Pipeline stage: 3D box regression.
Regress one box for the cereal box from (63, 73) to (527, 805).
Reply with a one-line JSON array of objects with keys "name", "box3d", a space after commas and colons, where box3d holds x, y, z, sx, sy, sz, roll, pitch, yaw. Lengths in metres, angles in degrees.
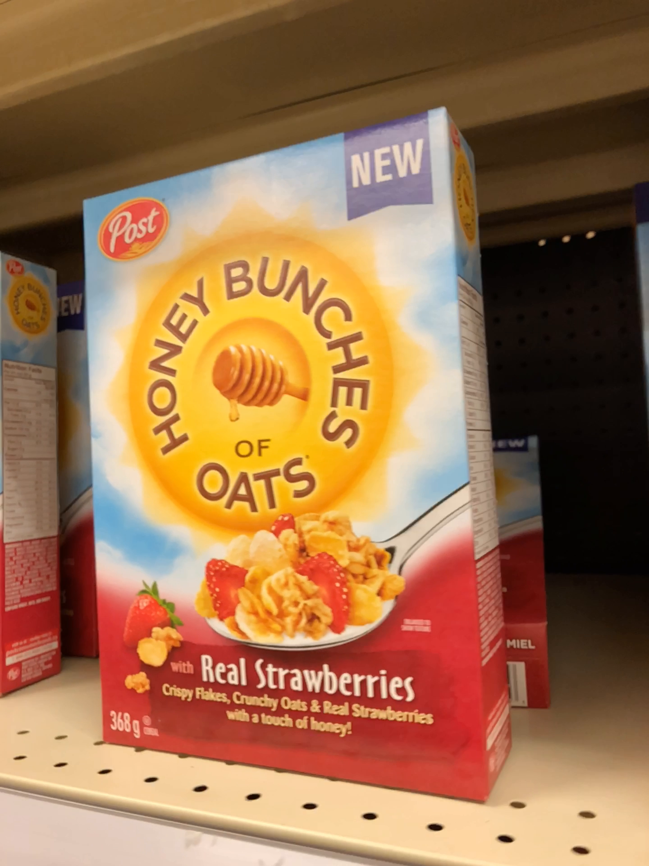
[{"name": "cereal box", "box3d": [-0.022, 0.005, 0.331, 0.200, 0.270, 0.050, -4, -2, 25]}]
